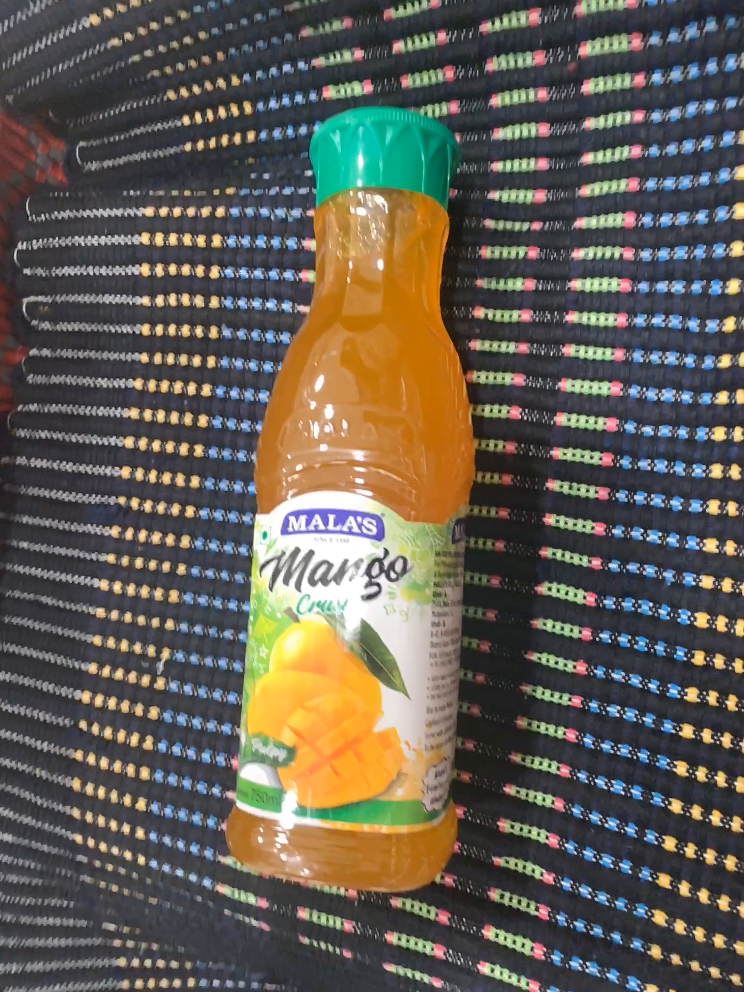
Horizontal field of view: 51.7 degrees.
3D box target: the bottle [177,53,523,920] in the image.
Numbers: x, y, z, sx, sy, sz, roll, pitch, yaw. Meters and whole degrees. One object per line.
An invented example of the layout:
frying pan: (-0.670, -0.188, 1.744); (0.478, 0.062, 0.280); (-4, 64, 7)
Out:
bottle: (0.003, -0.006, 0.263); (0.080, 0.090, 0.240); (3, 84, 14)
